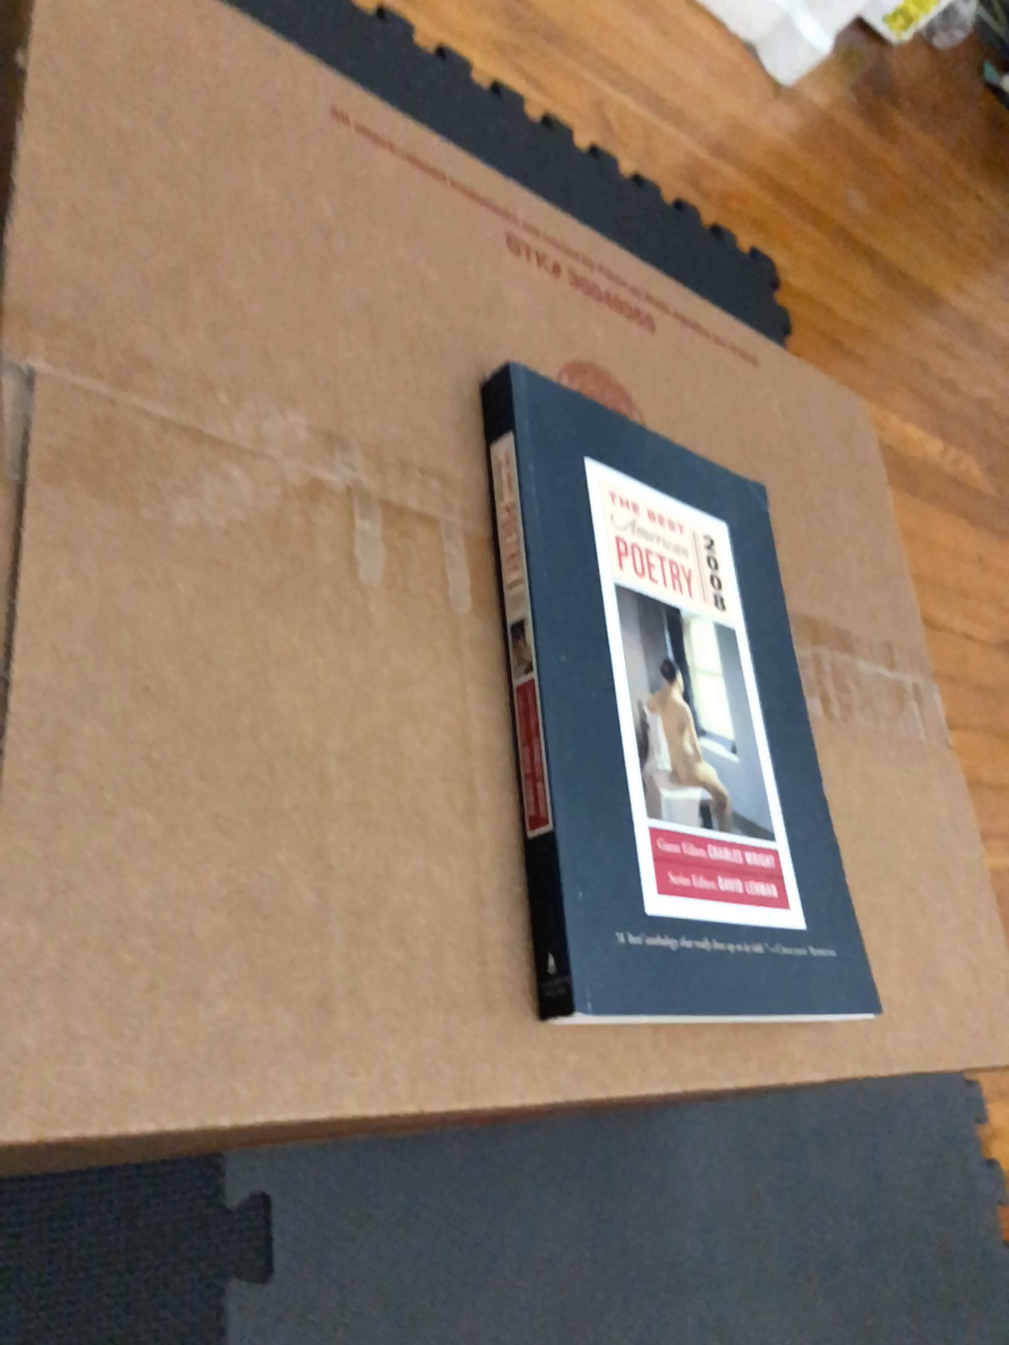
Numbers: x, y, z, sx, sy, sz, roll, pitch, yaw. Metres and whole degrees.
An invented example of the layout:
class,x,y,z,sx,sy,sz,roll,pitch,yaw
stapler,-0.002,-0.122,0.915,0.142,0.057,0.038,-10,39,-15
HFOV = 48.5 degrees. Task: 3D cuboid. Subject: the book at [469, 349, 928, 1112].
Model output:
class,x,y,z,sx,sy,sz,roll,pitch,yaw
book,0.064,0.017,0.372,0.151,0.020,0.230,13,60,-39
